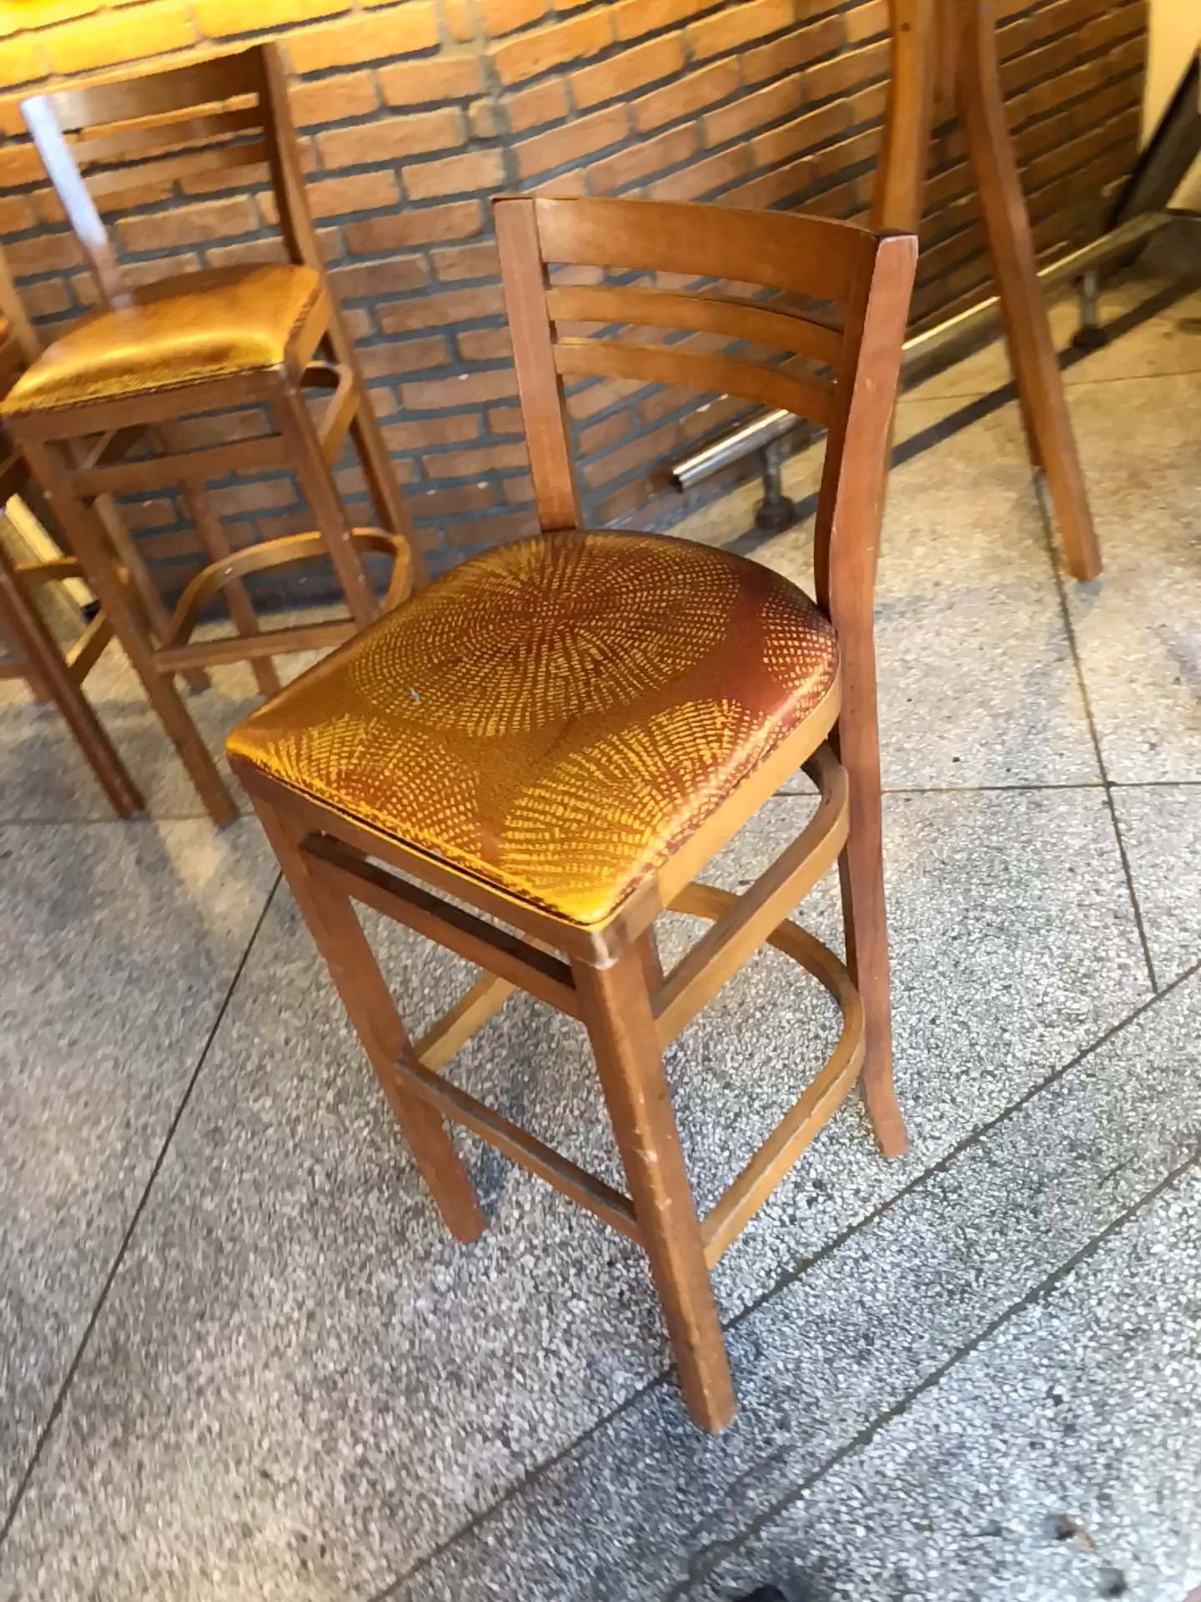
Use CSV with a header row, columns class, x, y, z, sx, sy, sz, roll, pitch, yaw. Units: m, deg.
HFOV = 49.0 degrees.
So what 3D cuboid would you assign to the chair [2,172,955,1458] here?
class,x,y,z,sx,sy,sz,roll,pitch,yaw
chair,0.001,0.054,1.135,0.402,0.973,0.431,24,53,37
